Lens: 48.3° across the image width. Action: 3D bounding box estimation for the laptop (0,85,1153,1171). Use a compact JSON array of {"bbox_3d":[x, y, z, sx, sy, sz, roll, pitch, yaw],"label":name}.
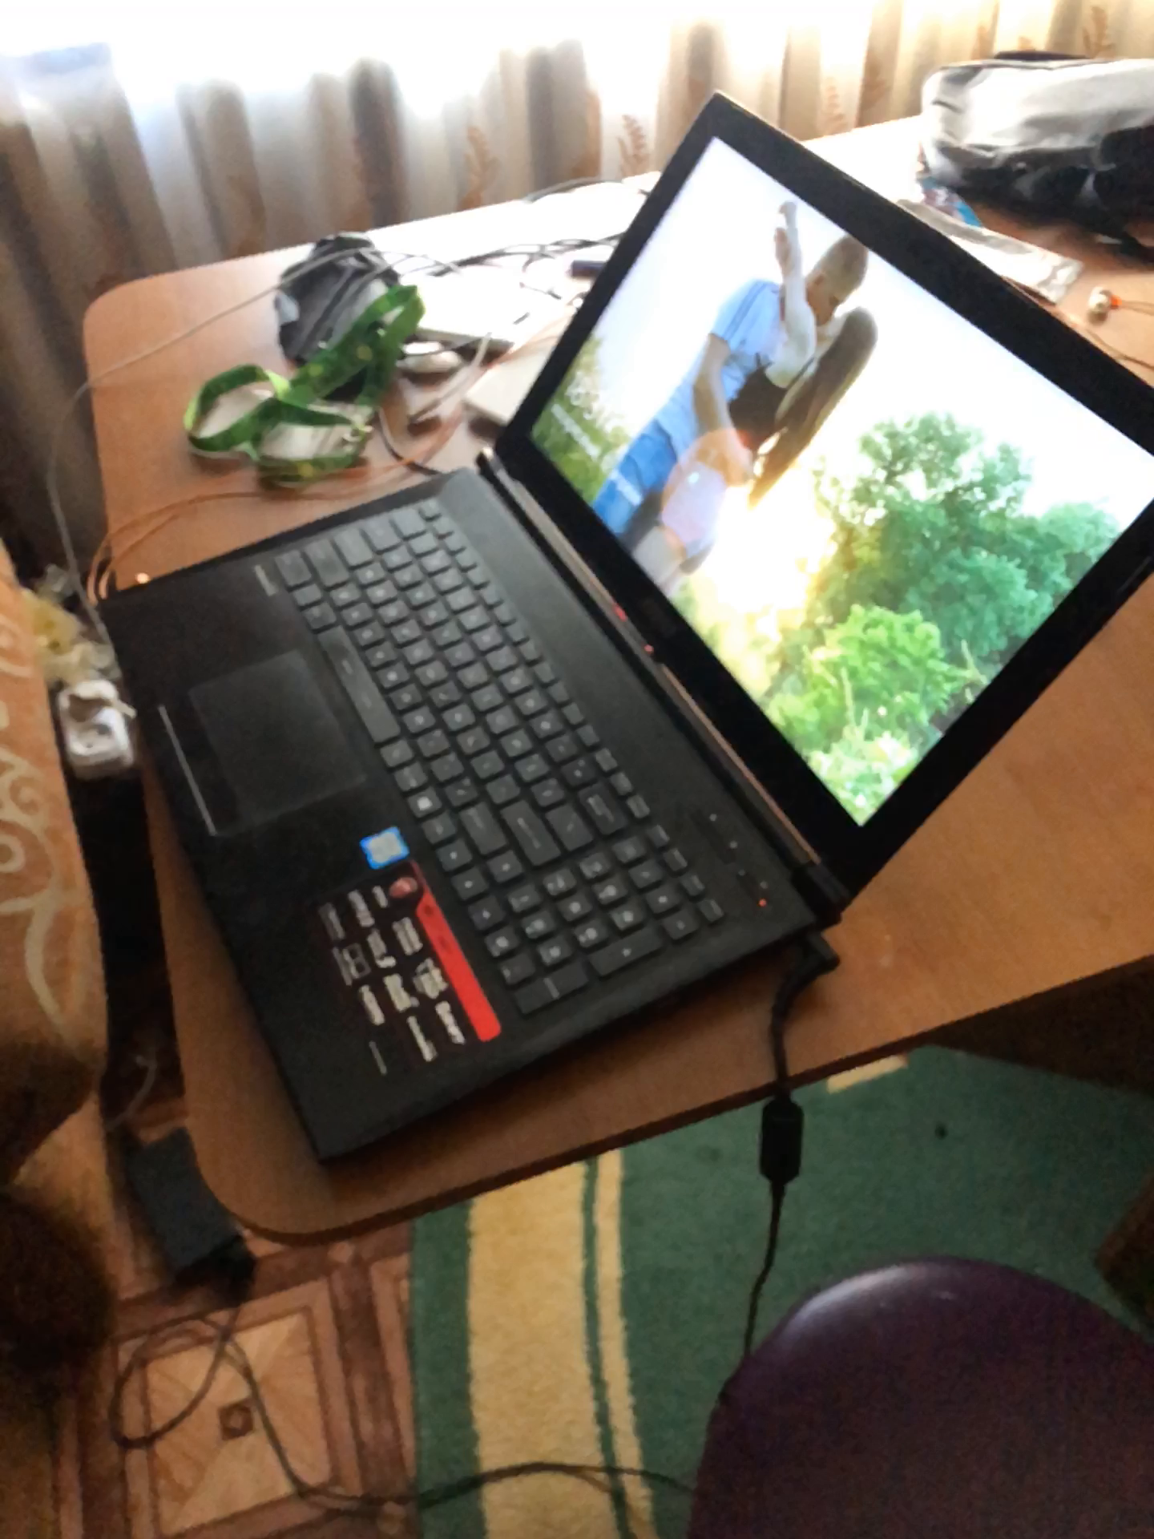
[{"bbox_3d":[-0.007,-0.107,0.602,0.409,0.174,0.375,-24,53,-15],"label":"laptop"}]
